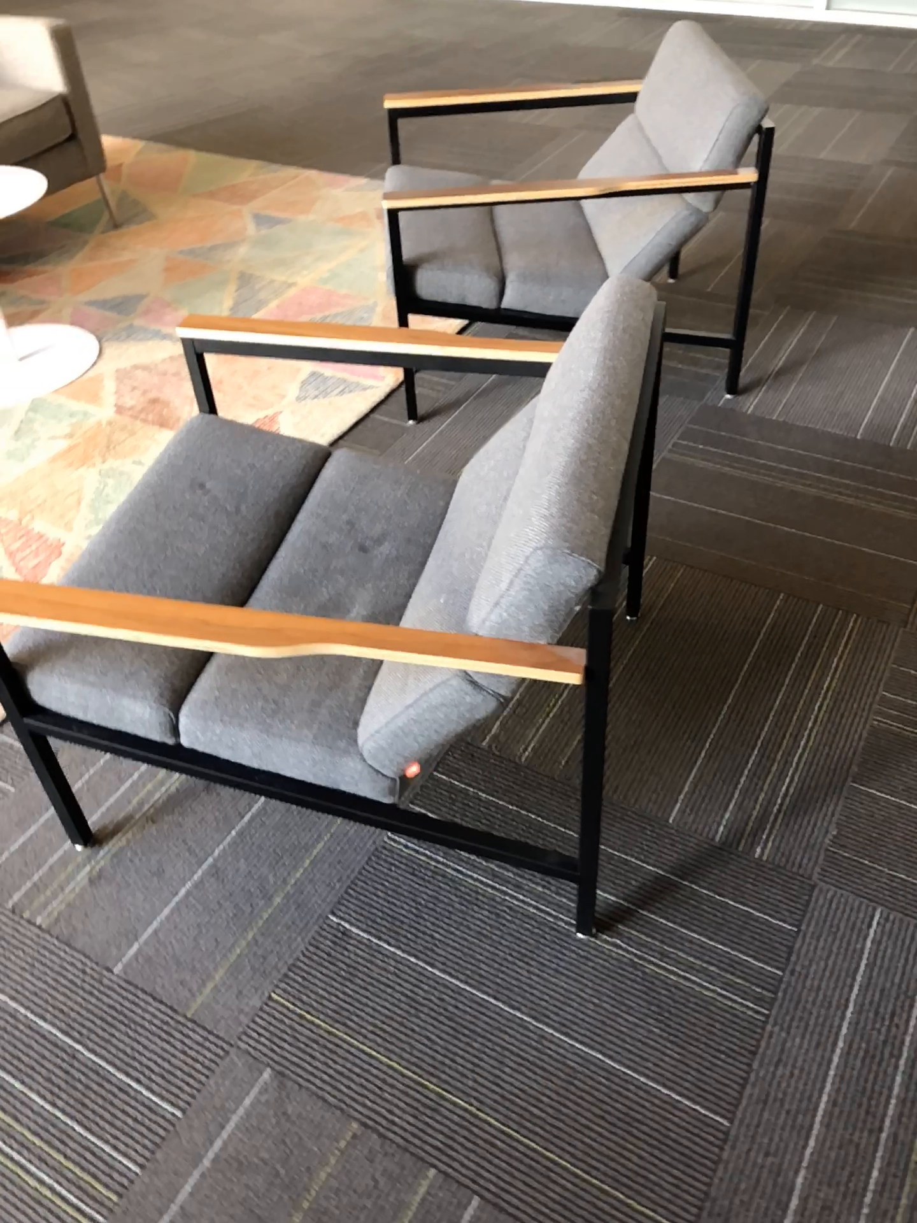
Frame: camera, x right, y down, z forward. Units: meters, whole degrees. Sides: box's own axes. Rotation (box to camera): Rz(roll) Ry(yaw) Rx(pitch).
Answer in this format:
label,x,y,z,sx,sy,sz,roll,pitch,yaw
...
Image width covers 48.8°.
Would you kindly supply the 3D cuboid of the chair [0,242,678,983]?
label,x,y,z,sx,sy,sz,roll,pitch,yaw
chair,-0.175,-0.053,1.521,0.921,0.697,0.793,4,42,12
